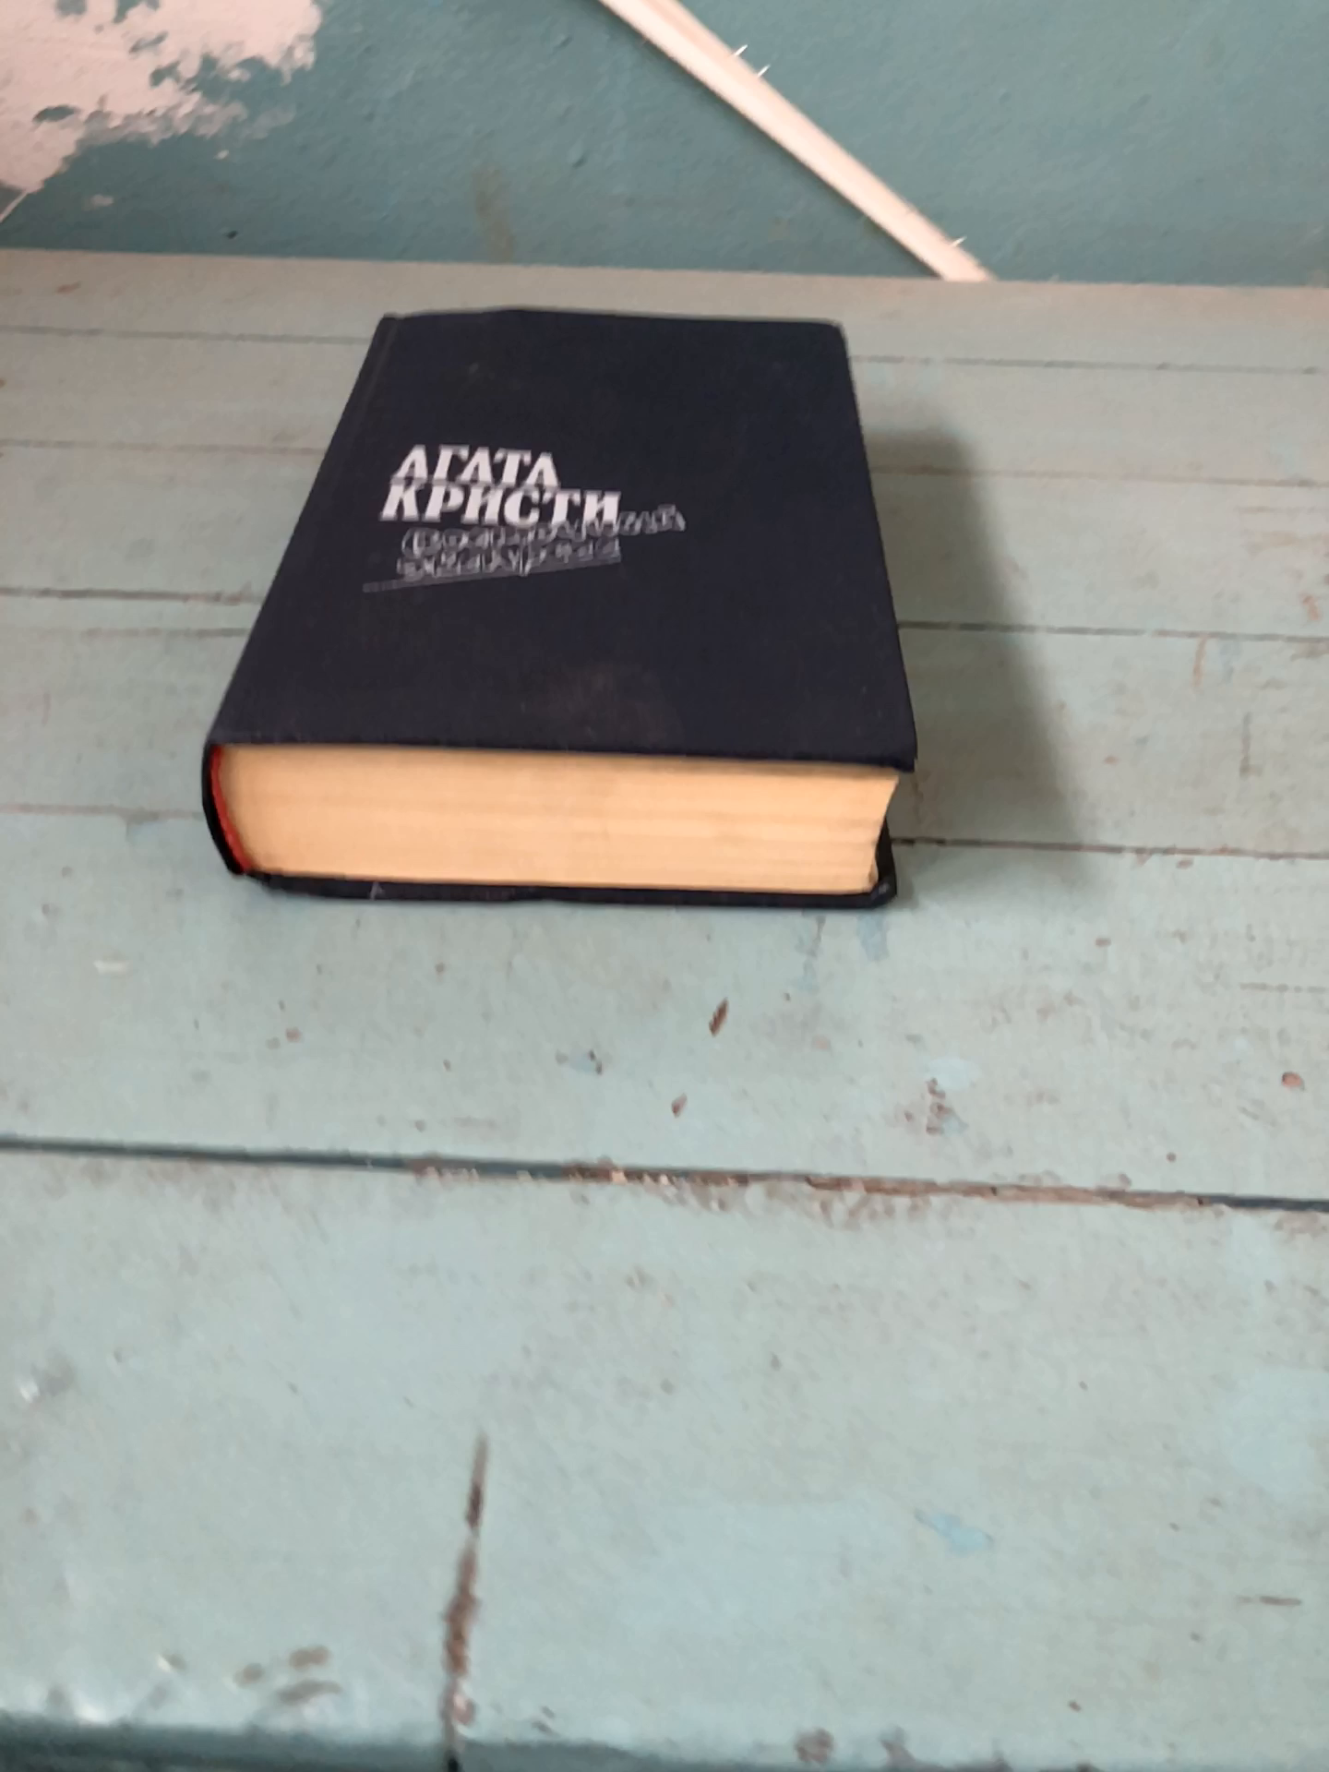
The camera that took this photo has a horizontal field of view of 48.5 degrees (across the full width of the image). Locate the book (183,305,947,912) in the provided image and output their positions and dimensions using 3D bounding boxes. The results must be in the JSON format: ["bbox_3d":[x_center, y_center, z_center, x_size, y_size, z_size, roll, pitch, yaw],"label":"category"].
[{"bbox_3d":[-0.017,-0.081,0.358,0.137,0.040,0.211,1,41,0],"label":"book"}]
